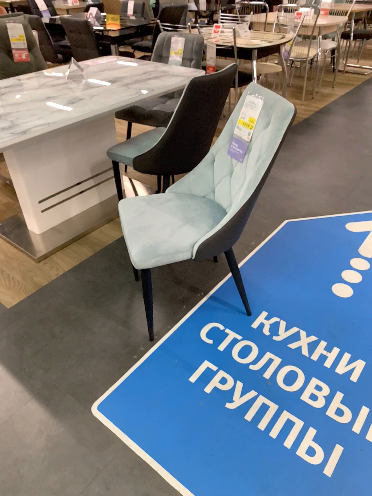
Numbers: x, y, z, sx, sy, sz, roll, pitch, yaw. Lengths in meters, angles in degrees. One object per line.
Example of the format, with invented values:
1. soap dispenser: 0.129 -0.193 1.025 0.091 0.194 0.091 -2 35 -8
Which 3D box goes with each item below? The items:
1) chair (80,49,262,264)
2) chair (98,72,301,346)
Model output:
1. chair: -0.061 -0.528 2.102 0.666 0.880 0.571 25 44 31
2. chair: 0.019 -0.145 1.513 0.550 0.885 0.473 -10 37 -12
